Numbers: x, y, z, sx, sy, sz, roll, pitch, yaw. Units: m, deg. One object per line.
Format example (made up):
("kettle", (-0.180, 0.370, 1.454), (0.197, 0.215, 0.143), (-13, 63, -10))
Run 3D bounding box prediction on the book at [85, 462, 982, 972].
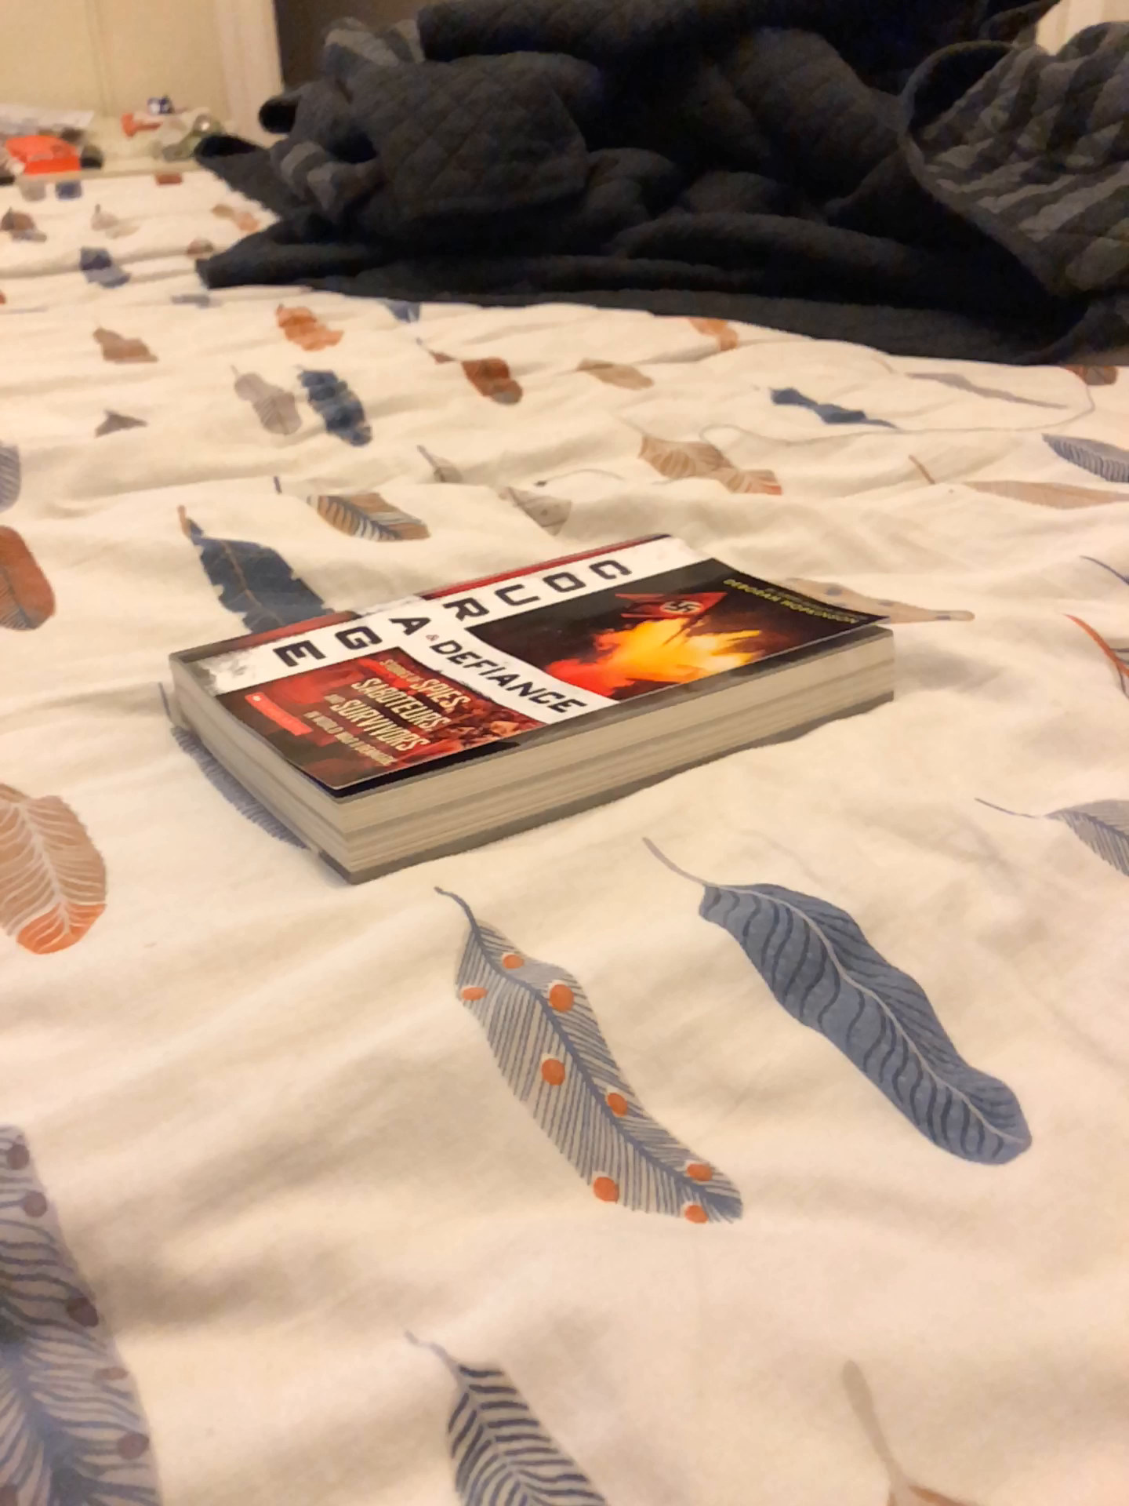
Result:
("book", (-0.014, -0.037, 0.428), (0.231, 0.020, 0.201), (-22, 39, -30))
